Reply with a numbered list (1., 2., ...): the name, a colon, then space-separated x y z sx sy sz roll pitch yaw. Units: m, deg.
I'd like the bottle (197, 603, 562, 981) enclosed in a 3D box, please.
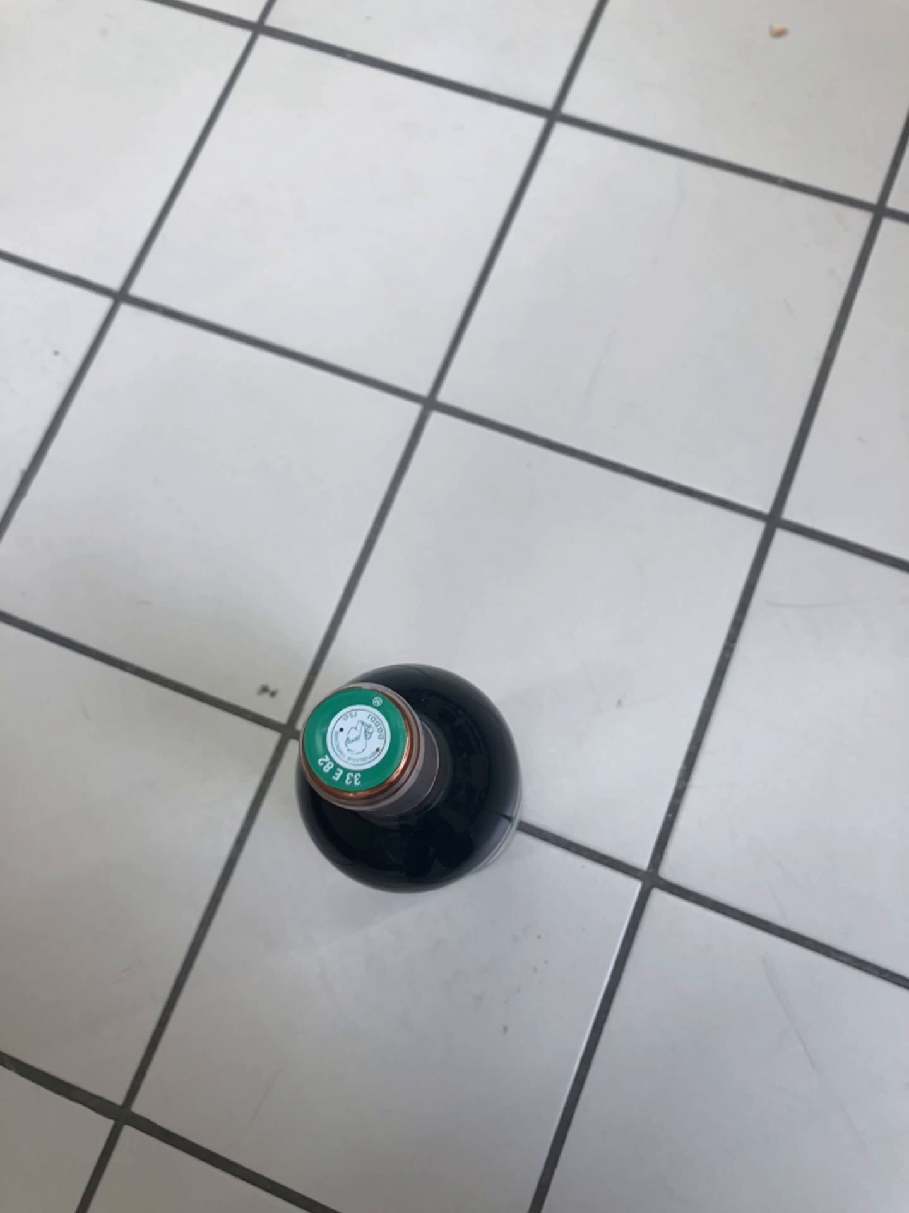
1. bottle: -0.009 0.075 0.370 0.080 0.290 0.080 -1 76 4
